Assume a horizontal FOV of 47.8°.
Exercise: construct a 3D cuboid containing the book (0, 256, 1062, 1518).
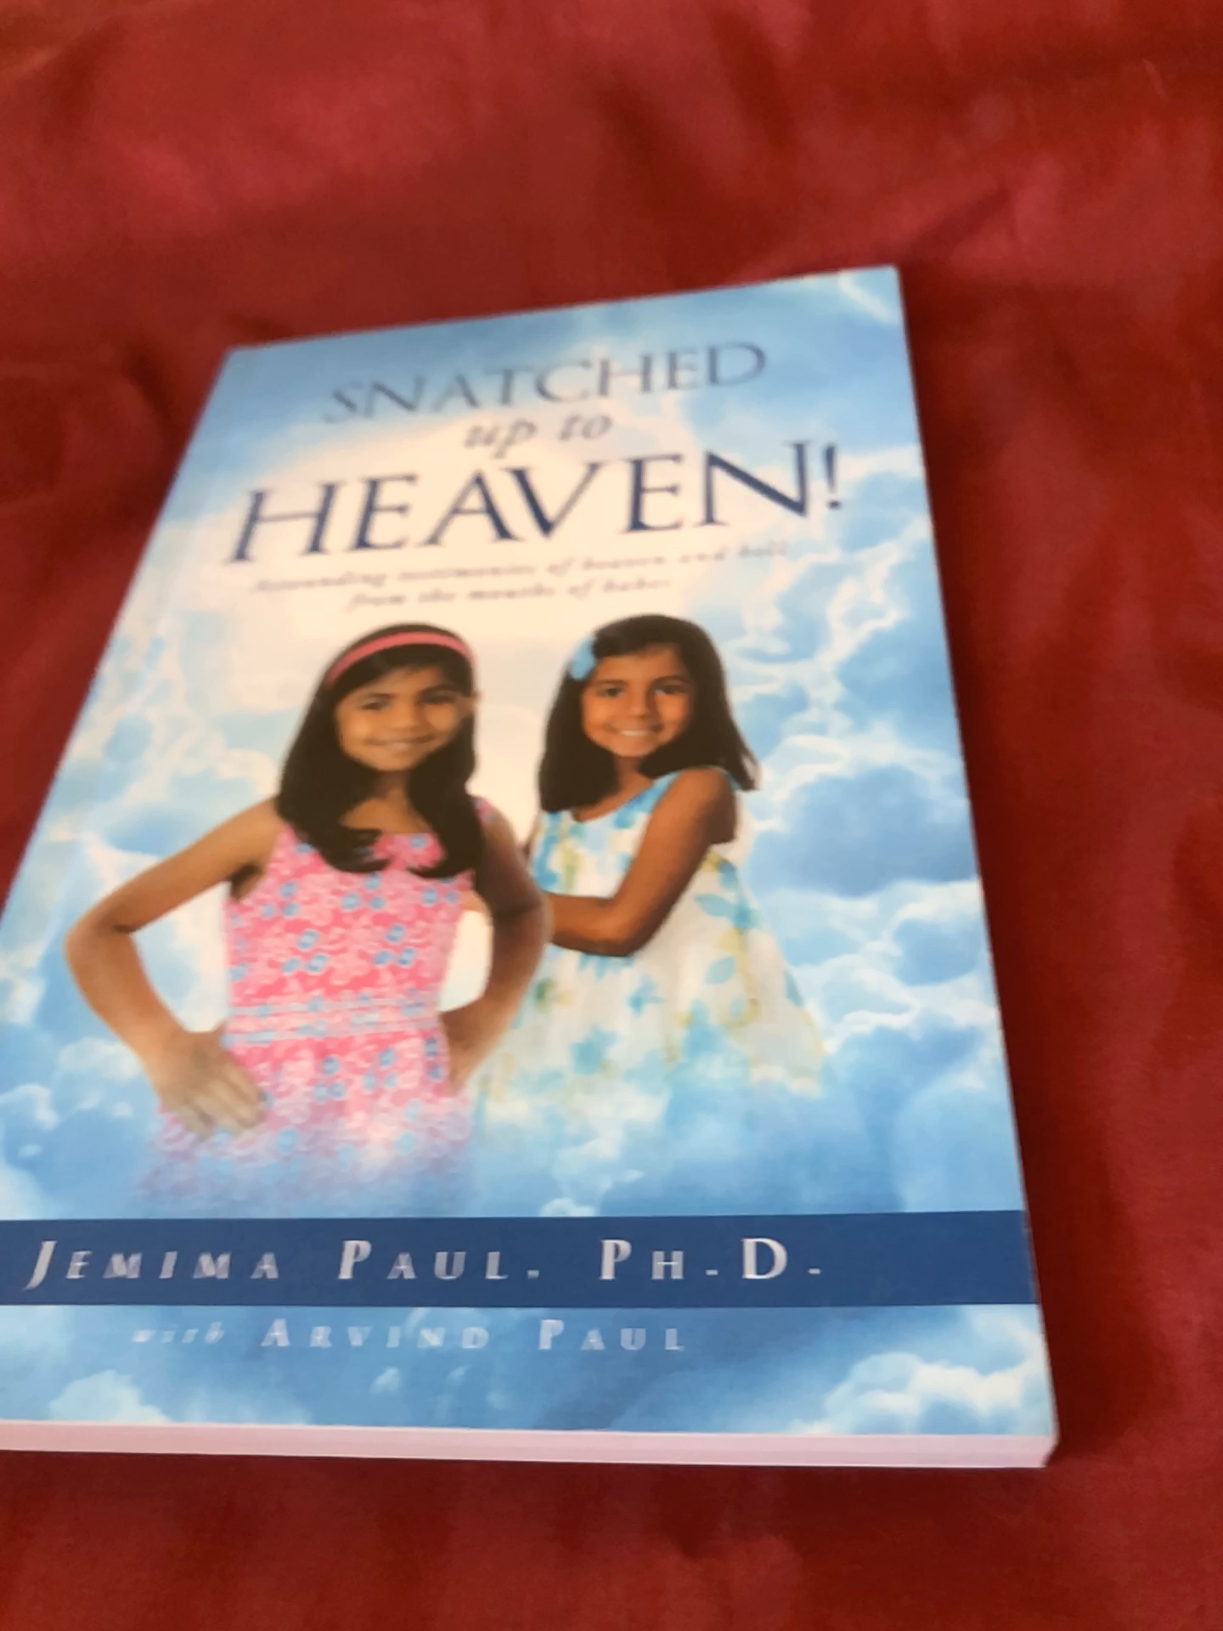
[{"bbox_3d":[-0.018,-0.012,0.216,0.140,0.020,0.212,-3,52,10],"label":"book"}]
